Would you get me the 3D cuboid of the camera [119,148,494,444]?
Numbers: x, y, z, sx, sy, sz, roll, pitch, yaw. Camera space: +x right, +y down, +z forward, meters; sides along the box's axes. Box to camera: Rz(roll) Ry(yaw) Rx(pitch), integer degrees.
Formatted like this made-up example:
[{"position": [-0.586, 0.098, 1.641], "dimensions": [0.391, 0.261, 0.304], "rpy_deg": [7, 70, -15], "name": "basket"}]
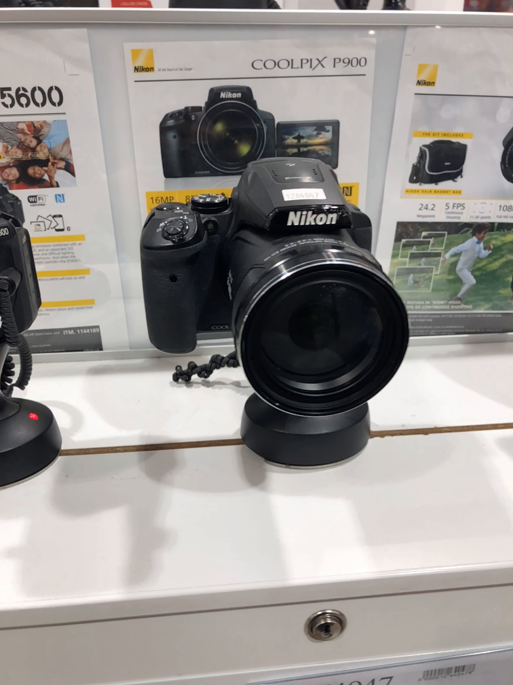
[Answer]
[{"position": [0.010, -0.040, 0.302], "dimensions": [0.140, 0.100, 0.161], "rpy_deg": [-3, 25, -7], "name": "camera"}]
